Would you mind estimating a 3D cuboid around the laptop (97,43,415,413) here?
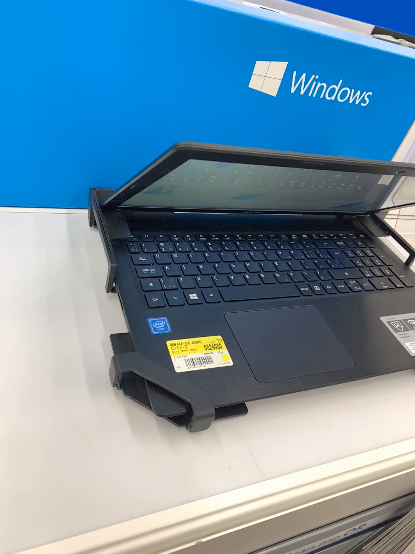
[{"bbox_3d":[0.104,-0.055,0.377,0.345,0.157,0.233,-2,42,-25],"label":"laptop"}]
